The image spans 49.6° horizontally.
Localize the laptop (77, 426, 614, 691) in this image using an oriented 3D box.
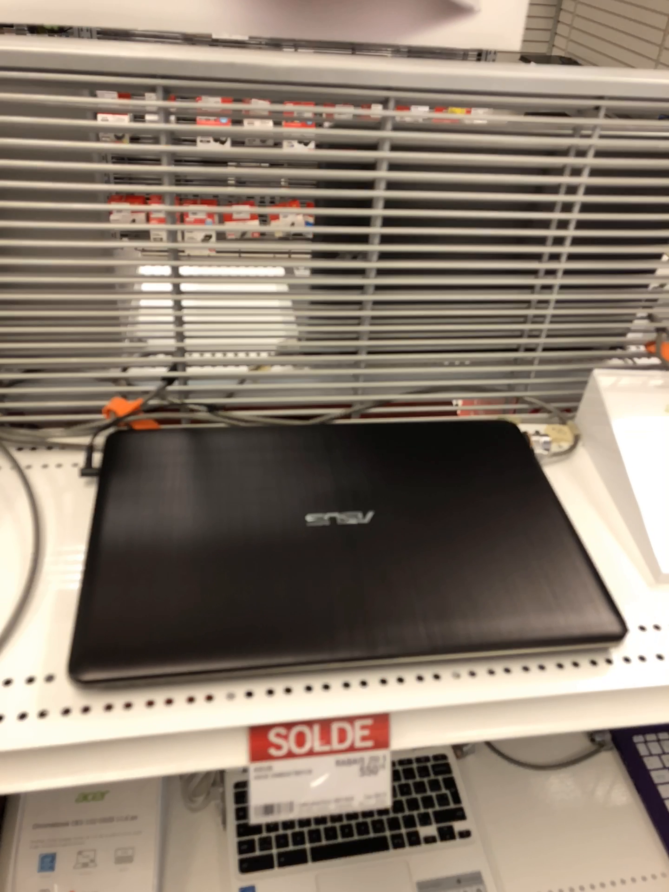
[{"bbox_3d":[0.006,0.067,0.575,0.367,0.013,0.235,-1,40,-11],"label":"laptop"}]
